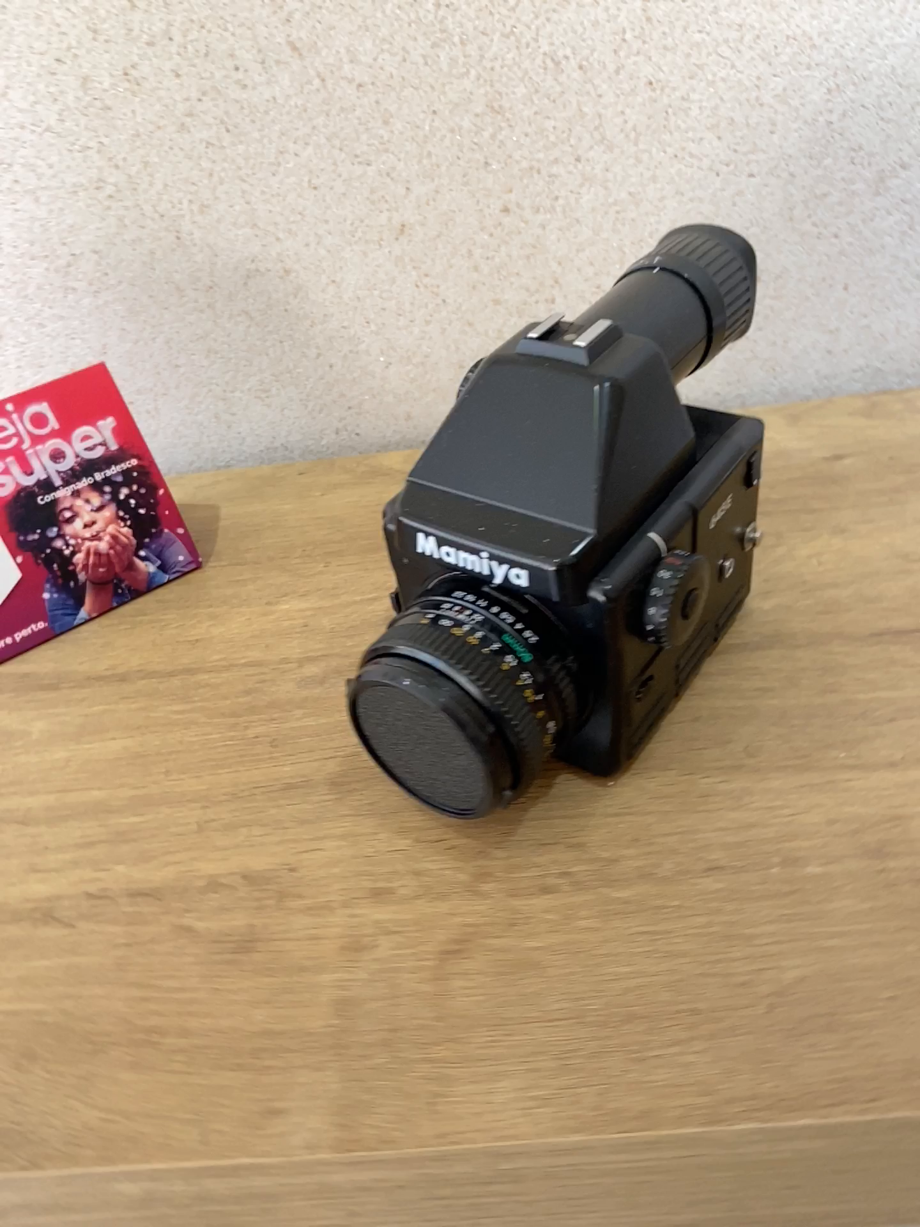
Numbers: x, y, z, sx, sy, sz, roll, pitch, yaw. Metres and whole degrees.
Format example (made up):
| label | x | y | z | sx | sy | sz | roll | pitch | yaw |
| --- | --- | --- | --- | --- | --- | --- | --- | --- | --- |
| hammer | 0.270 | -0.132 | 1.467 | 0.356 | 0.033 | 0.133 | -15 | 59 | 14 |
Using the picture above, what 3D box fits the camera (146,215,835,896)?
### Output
| label | x | y | z | sx | sy | sz | roll | pitch | yaw |
| --- | --- | --- | --- | --- | --- | --- | --- | --- | --- |
| camera | 0.031 | -0.043 | 0.332 | 0.120 | 0.109 | 0.221 | 17 | 46 | 30 |
